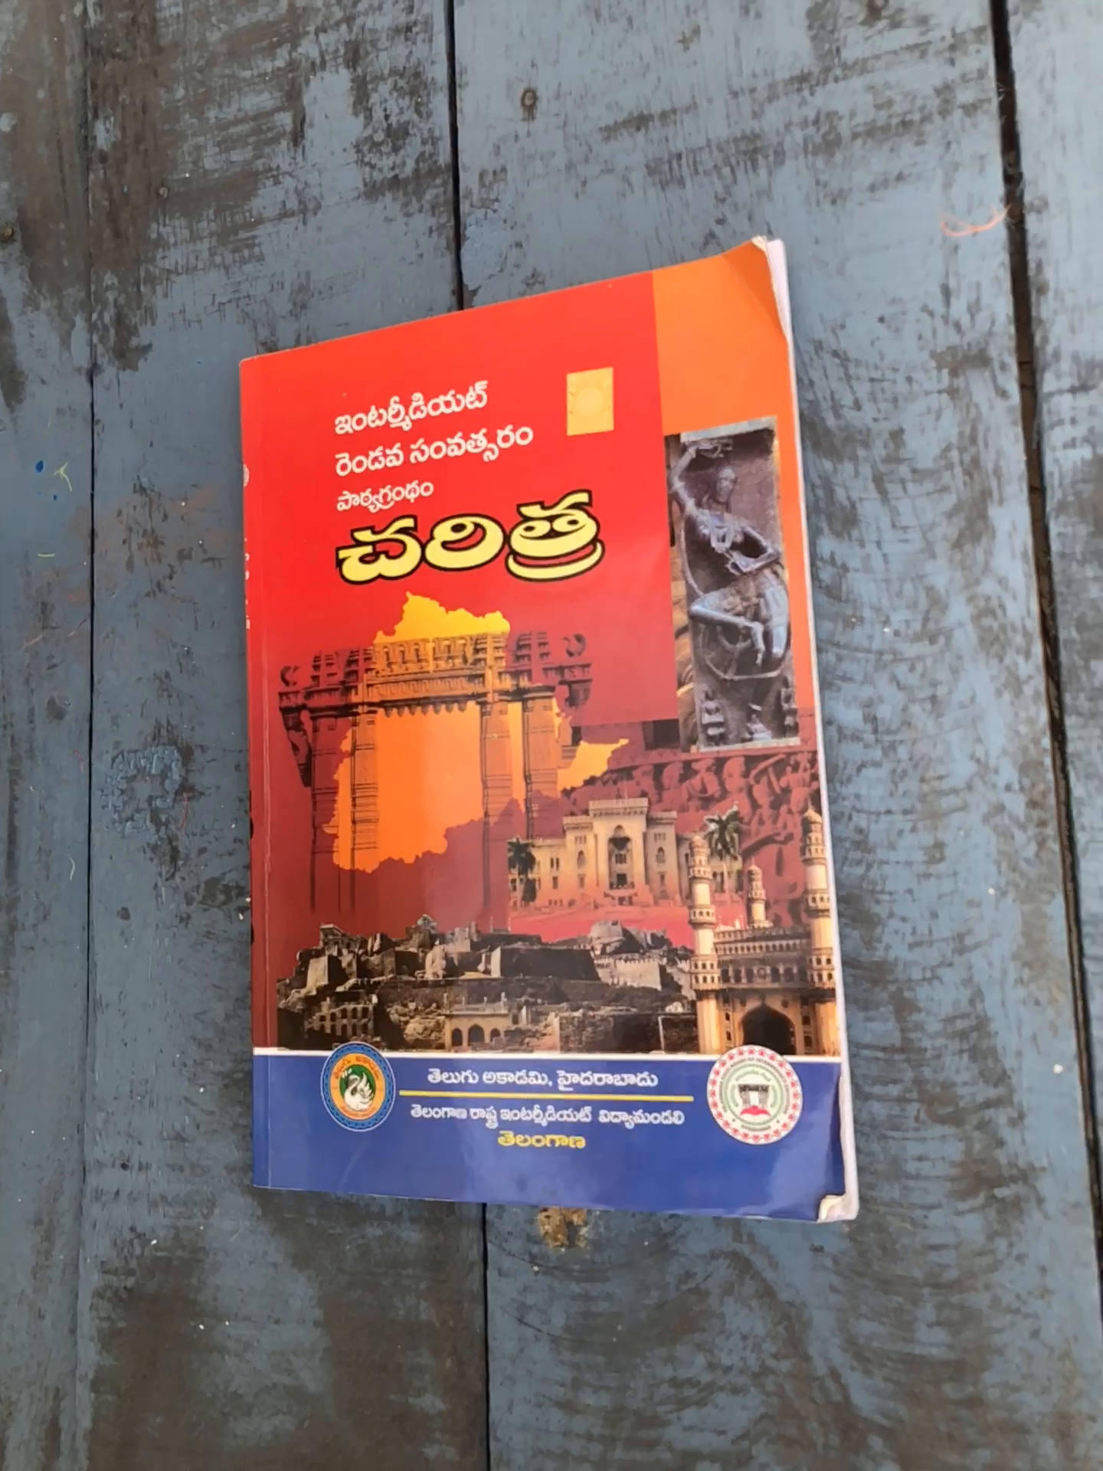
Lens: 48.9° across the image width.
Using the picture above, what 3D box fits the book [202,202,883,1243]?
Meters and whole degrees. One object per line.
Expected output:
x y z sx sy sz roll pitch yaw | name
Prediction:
-0.009 -0.003 0.361 0.190 0.040 0.270 -4 82 19 | book
